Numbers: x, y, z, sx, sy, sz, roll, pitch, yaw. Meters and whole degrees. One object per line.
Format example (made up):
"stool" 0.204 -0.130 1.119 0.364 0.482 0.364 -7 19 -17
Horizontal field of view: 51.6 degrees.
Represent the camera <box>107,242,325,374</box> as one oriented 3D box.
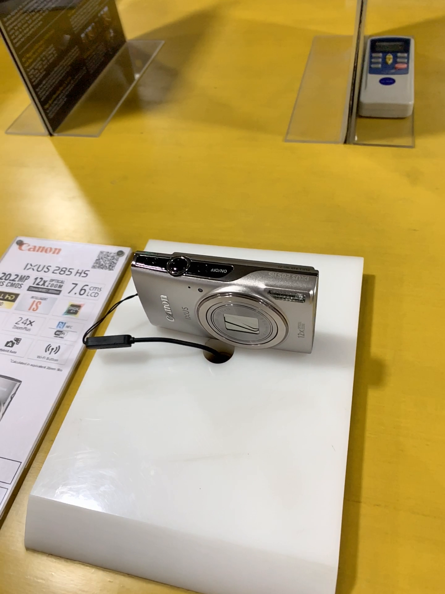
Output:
"camera" -0.001 0.005 0.238 0.100 0.050 0.030 8 54 15
